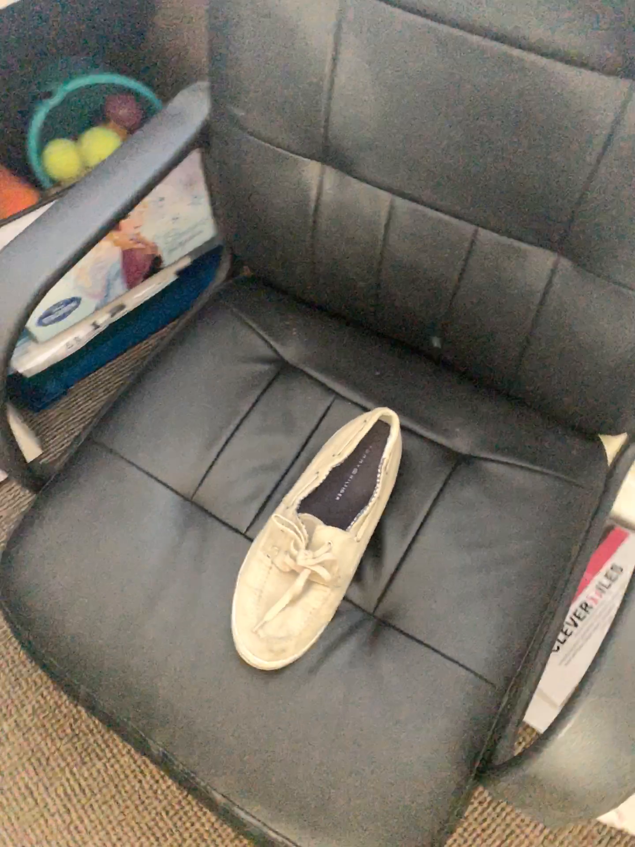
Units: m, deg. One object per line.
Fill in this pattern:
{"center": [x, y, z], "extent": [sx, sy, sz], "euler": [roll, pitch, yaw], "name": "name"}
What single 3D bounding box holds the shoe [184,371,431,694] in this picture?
{"center": [0.000, 0.093, 0.598], "extent": [0.100, 0.070, 0.271], "euler": [25, 66, 13], "name": "shoe"}
